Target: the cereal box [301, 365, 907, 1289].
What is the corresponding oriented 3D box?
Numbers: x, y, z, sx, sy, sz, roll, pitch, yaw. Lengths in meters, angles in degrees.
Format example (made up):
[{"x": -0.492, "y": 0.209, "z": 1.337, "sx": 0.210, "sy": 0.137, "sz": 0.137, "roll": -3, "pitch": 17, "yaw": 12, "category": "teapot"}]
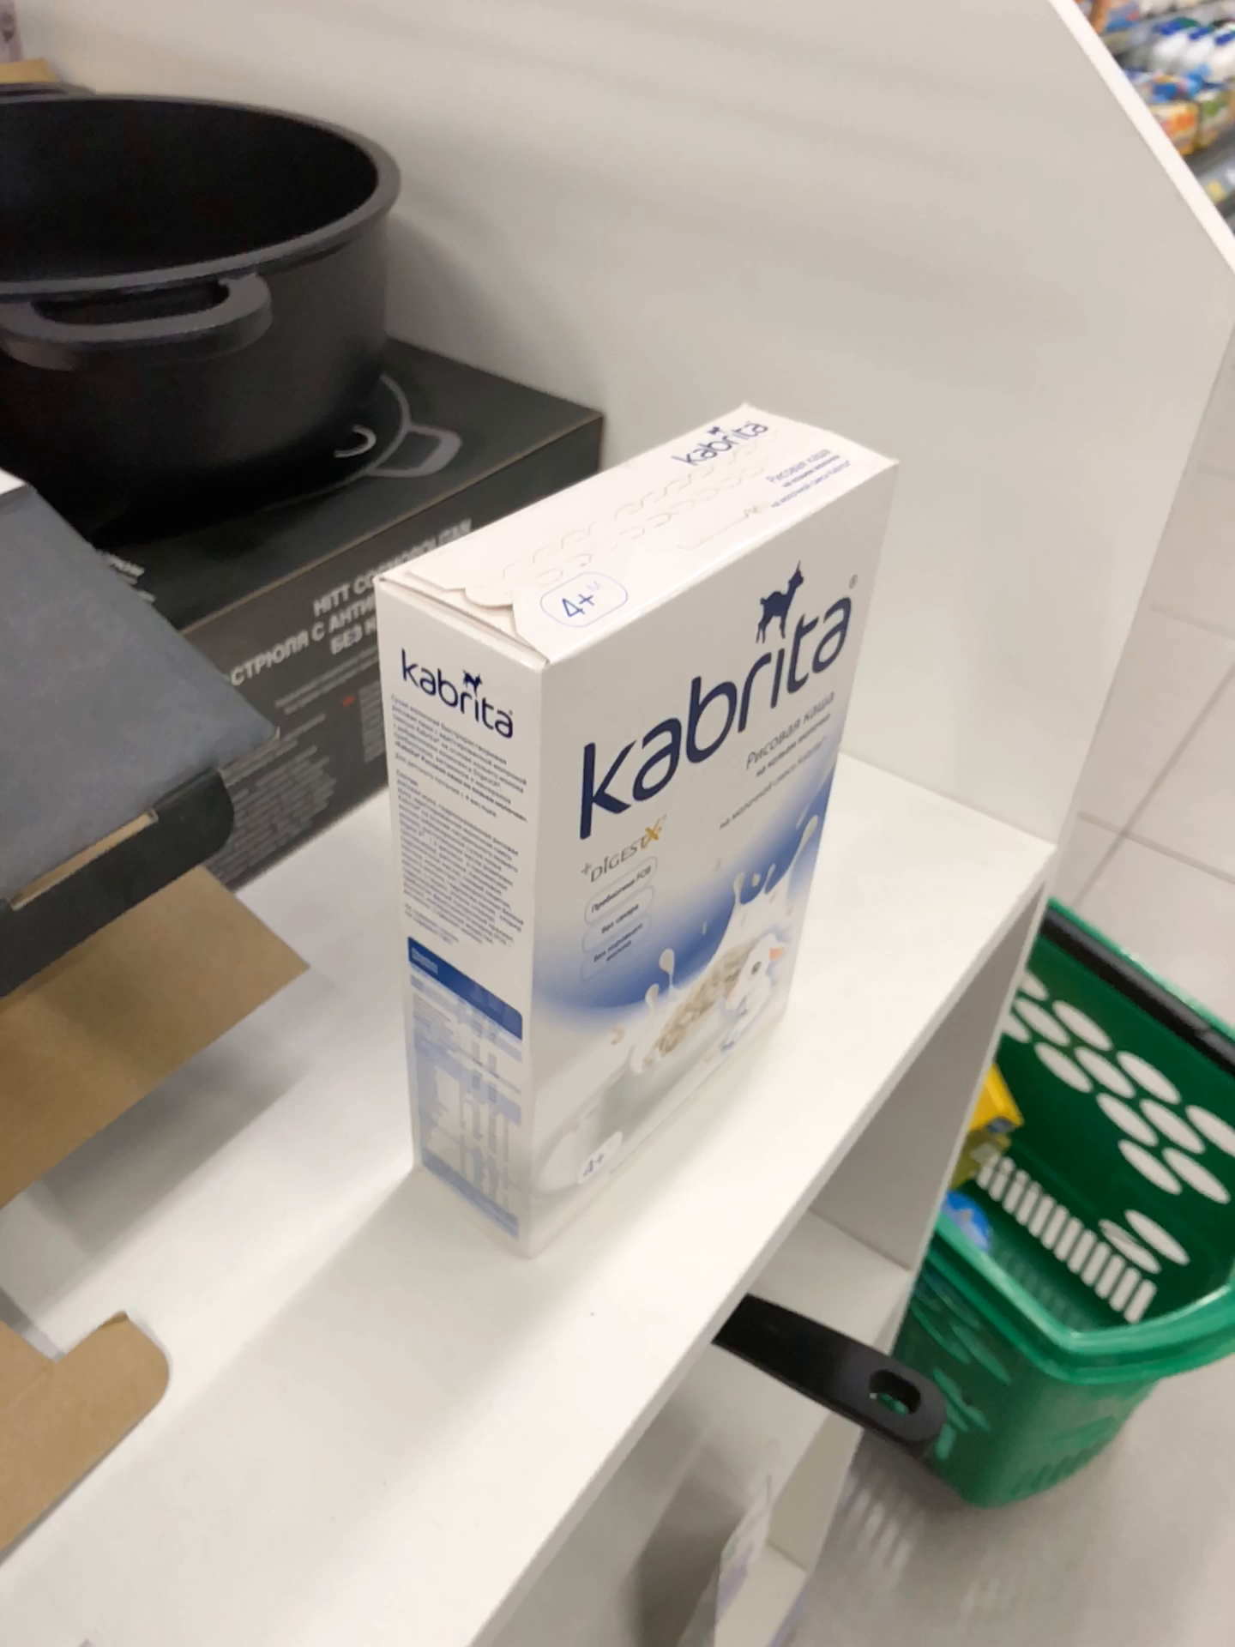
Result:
[{"x": -0.003, "y": 0.004, "z": 0.374, "sx": 0.060, "sy": 0.209, "sz": 0.141, "roll": 30, "pitch": 46, "yaw": 27, "category": "cereal box"}]
